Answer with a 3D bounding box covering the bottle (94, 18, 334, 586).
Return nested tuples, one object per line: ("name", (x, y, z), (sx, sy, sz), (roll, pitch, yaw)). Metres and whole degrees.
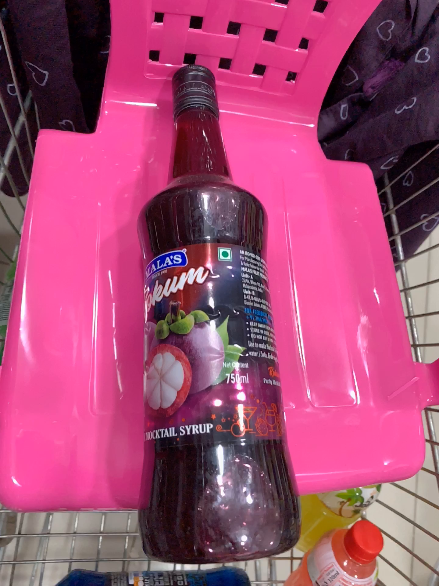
("bottle", (-0.008, -0.003, 0.253), (0.080, 0.080, 0.260), (13, 67, -40))
